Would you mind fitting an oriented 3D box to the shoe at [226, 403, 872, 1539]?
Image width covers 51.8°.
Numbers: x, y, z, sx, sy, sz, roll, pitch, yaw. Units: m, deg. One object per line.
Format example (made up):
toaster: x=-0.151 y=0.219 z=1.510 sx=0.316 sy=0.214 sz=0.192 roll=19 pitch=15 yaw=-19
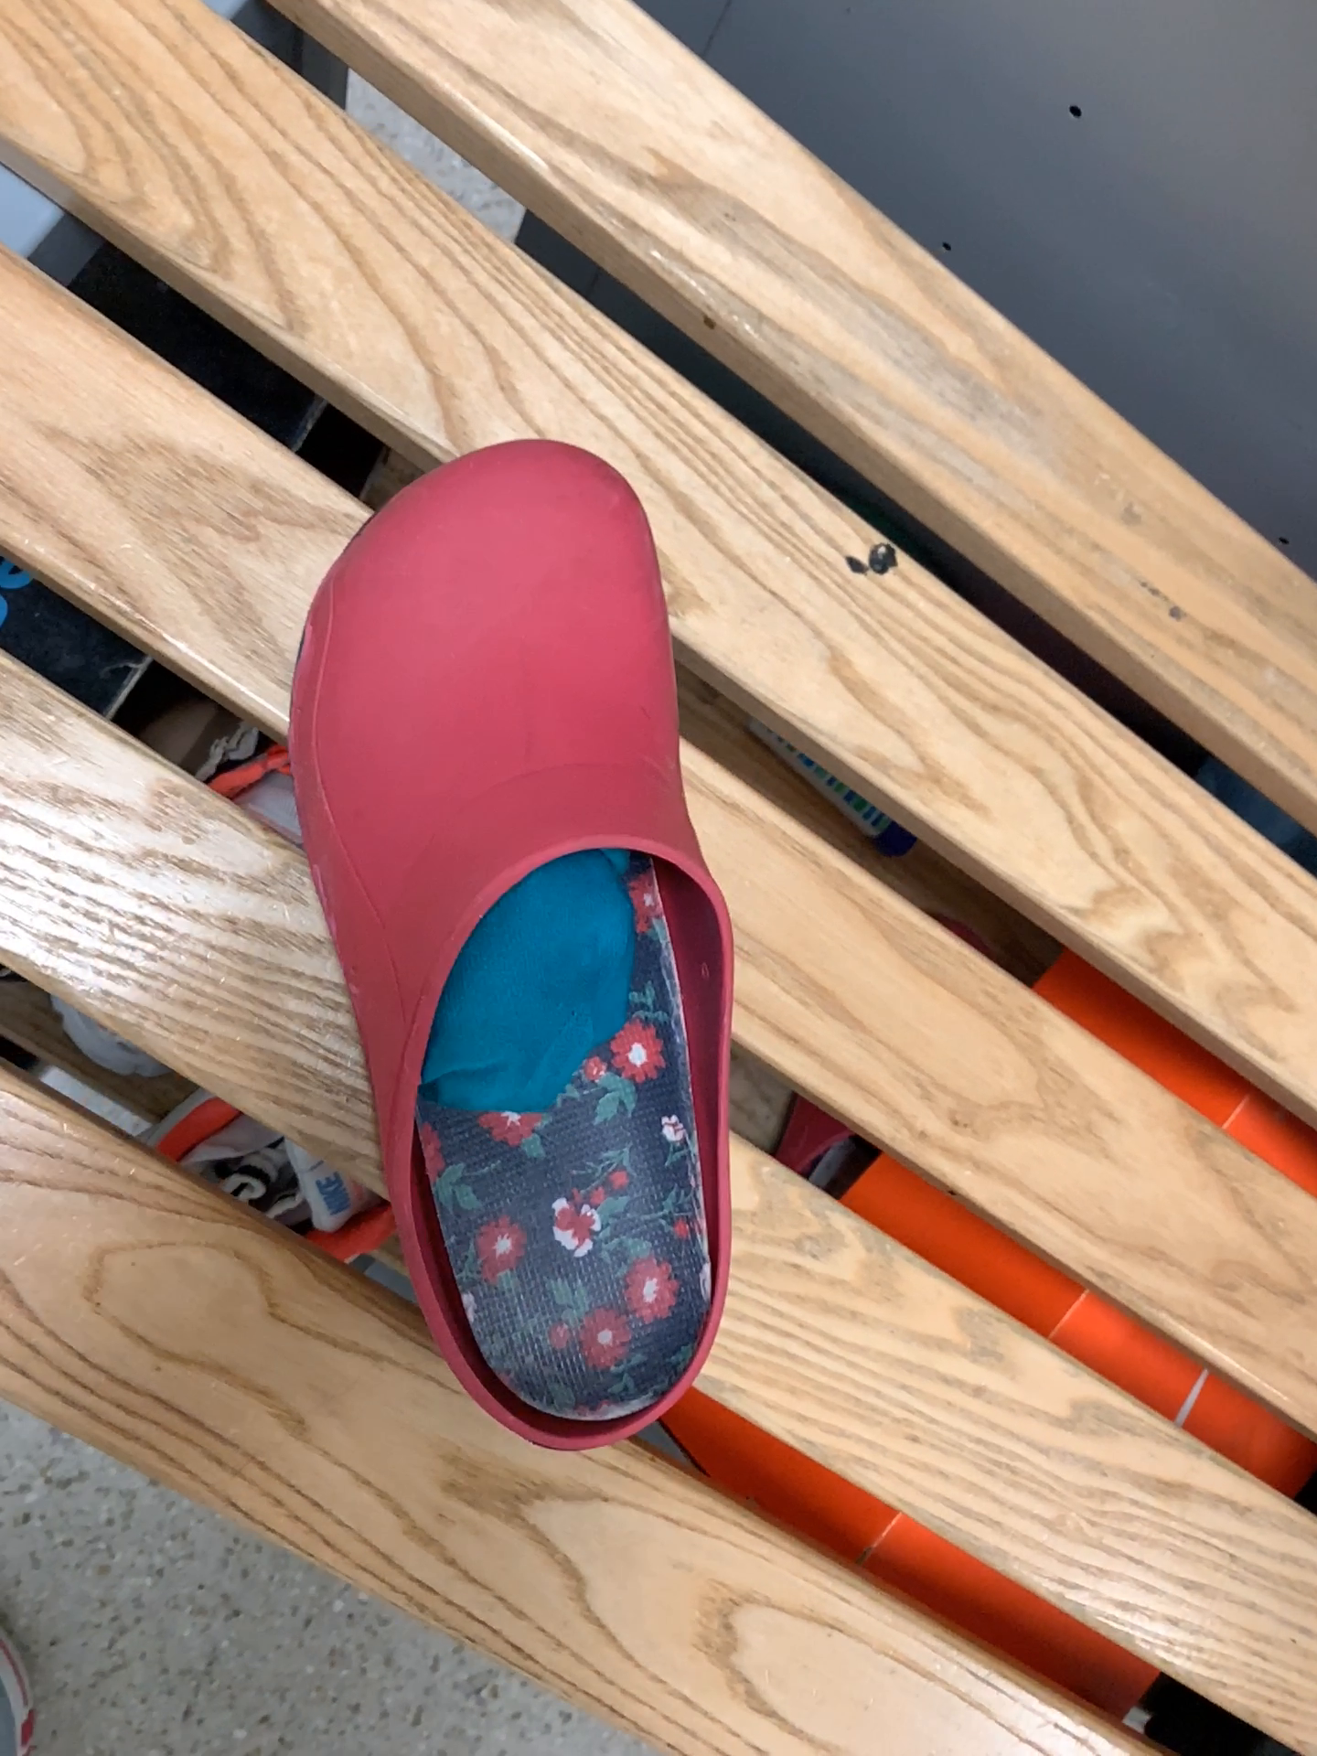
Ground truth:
shoe: x=-0.032 y=0.016 z=0.341 sx=0.106 sy=0.077 sz=0.238 roll=-10 pitch=89 yaw=-17
